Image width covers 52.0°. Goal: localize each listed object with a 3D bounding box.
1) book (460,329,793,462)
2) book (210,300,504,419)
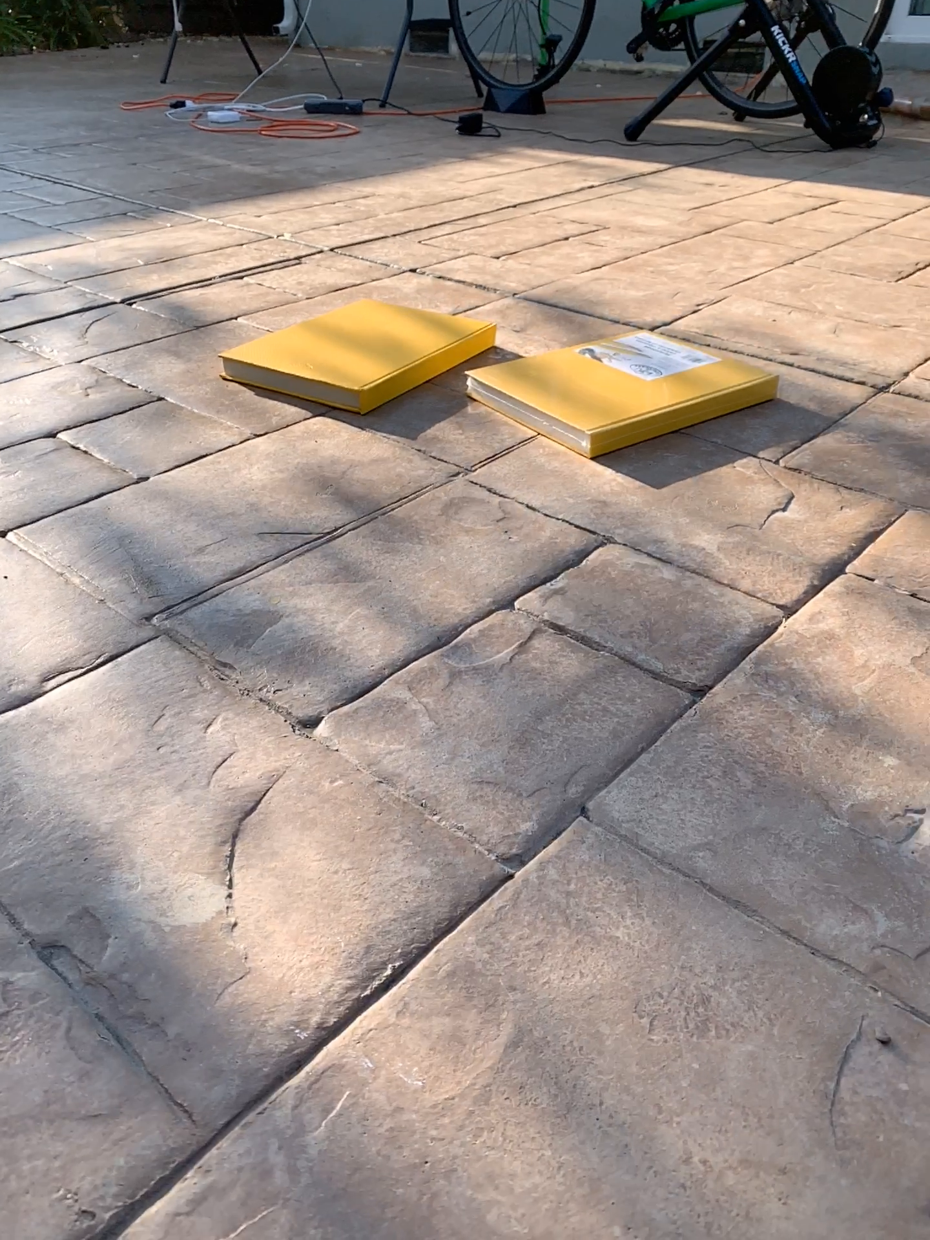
[{"bbox_3d":[0.184,-0.268,1.097,0.300,0.030,0.231,-20,38,-29],"label":"book"},{"bbox_3d":[-0.127,-0.341,1.214,0.231,0.030,0.311,19,37,25],"label":"book"}]
